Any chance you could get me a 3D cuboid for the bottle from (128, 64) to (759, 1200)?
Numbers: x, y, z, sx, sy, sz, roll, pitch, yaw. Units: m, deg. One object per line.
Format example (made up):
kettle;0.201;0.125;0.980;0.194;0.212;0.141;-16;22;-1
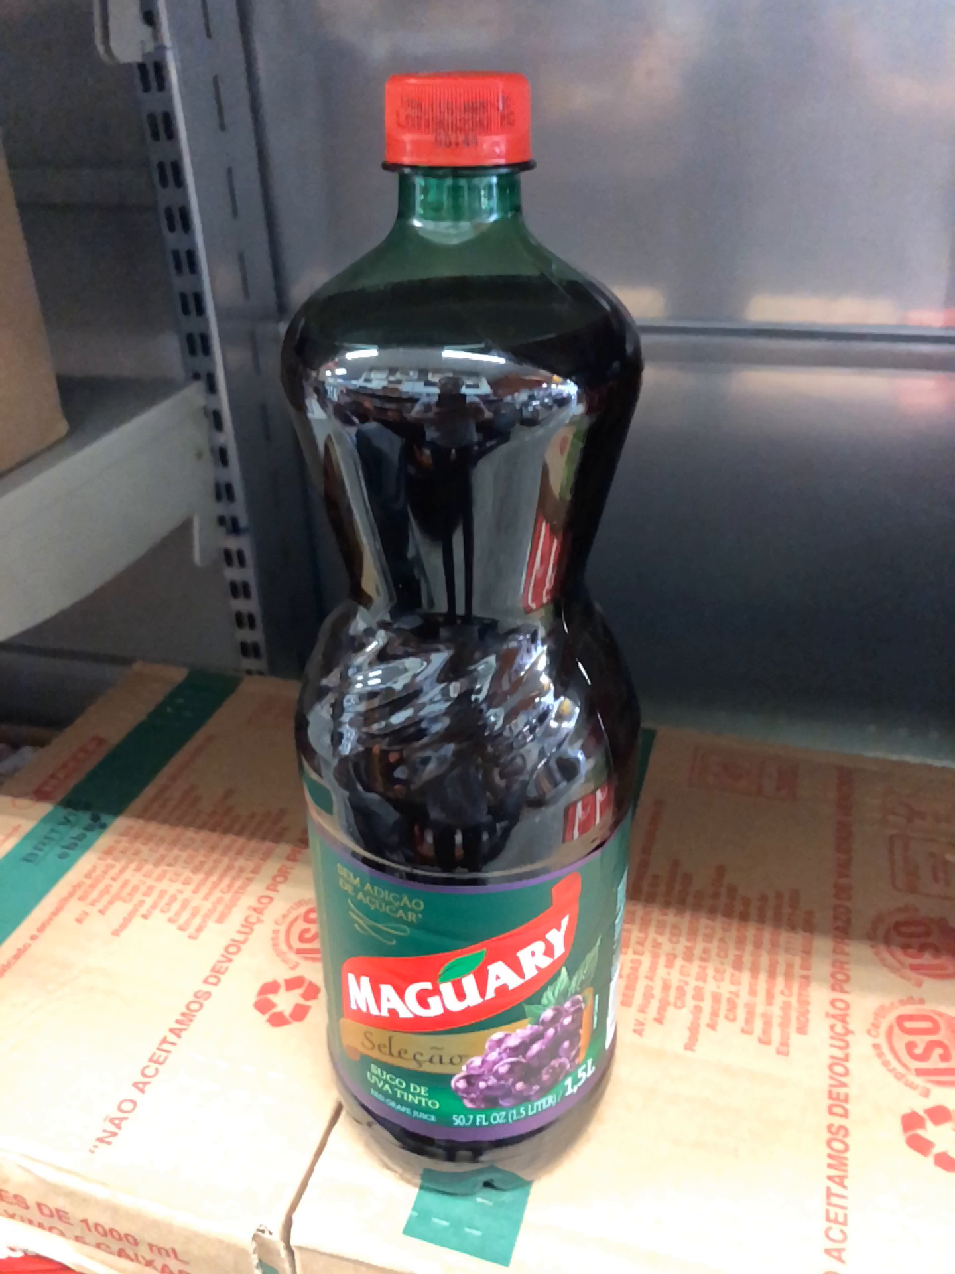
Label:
bottle;-0.003;0.018;0.274;0.100;0.288;0.081;-1;29;1
